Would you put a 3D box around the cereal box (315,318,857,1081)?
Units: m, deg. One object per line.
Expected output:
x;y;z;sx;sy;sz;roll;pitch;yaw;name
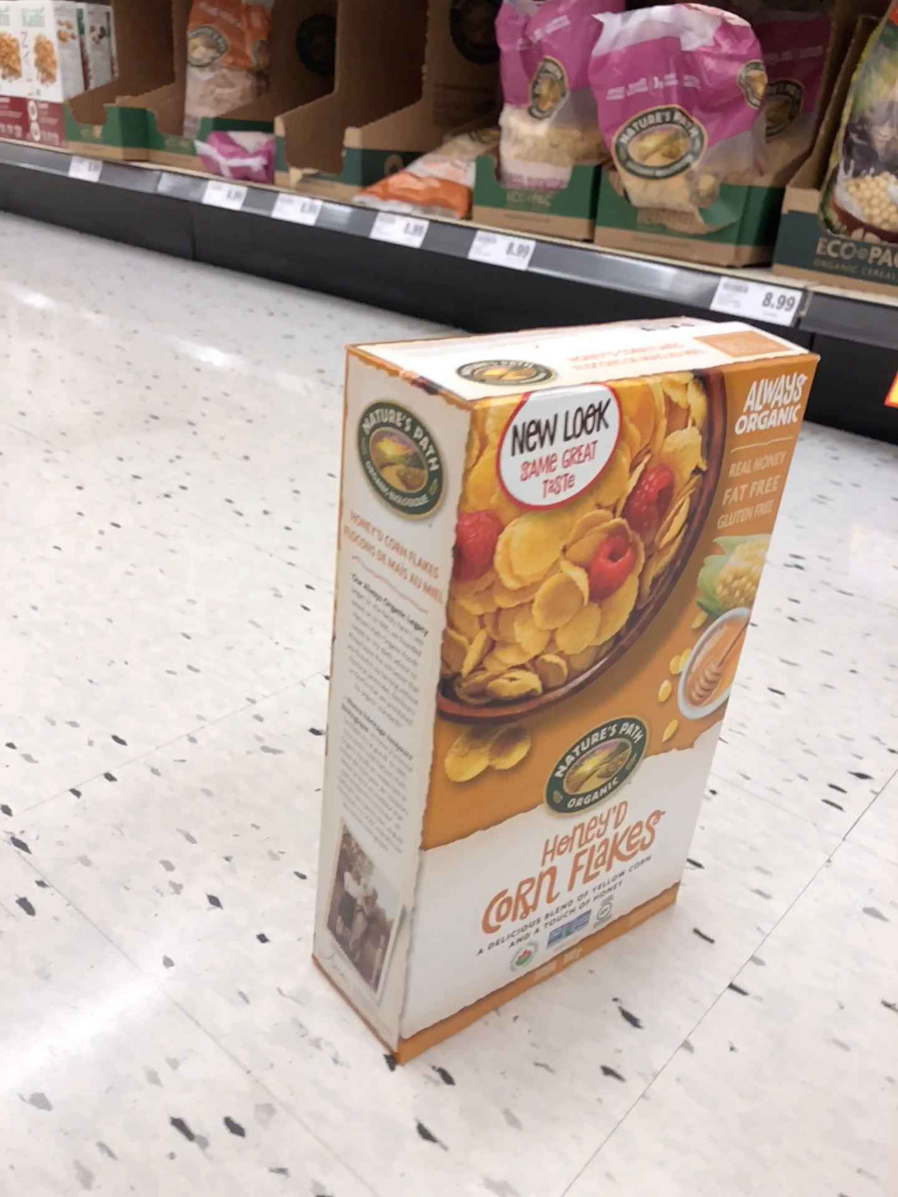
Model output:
0.041;0.032;0.355;0.160;0.239;0.060;-15;34;-35;cereal box
